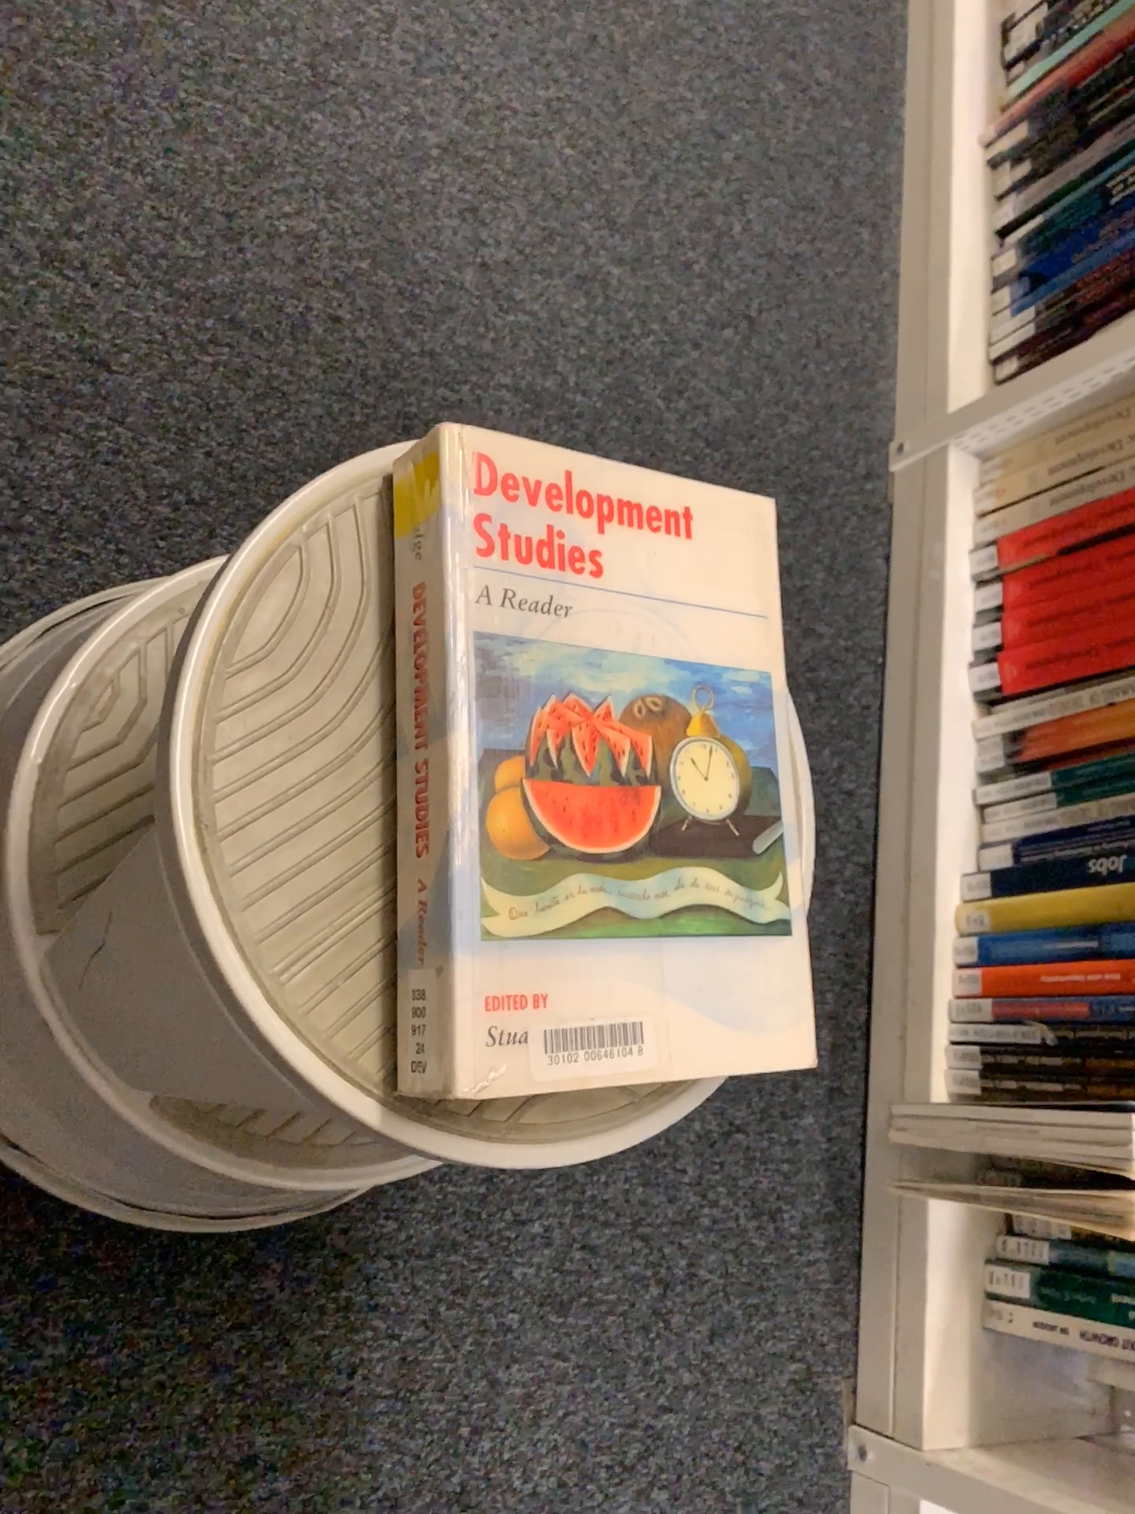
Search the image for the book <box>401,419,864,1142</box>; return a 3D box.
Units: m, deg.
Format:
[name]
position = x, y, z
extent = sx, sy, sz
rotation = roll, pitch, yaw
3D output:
[book]
position = 0.024, 0.010, 0.418
extent = 0.160, 0.045, 0.225
rotation = 5, 77, -32
